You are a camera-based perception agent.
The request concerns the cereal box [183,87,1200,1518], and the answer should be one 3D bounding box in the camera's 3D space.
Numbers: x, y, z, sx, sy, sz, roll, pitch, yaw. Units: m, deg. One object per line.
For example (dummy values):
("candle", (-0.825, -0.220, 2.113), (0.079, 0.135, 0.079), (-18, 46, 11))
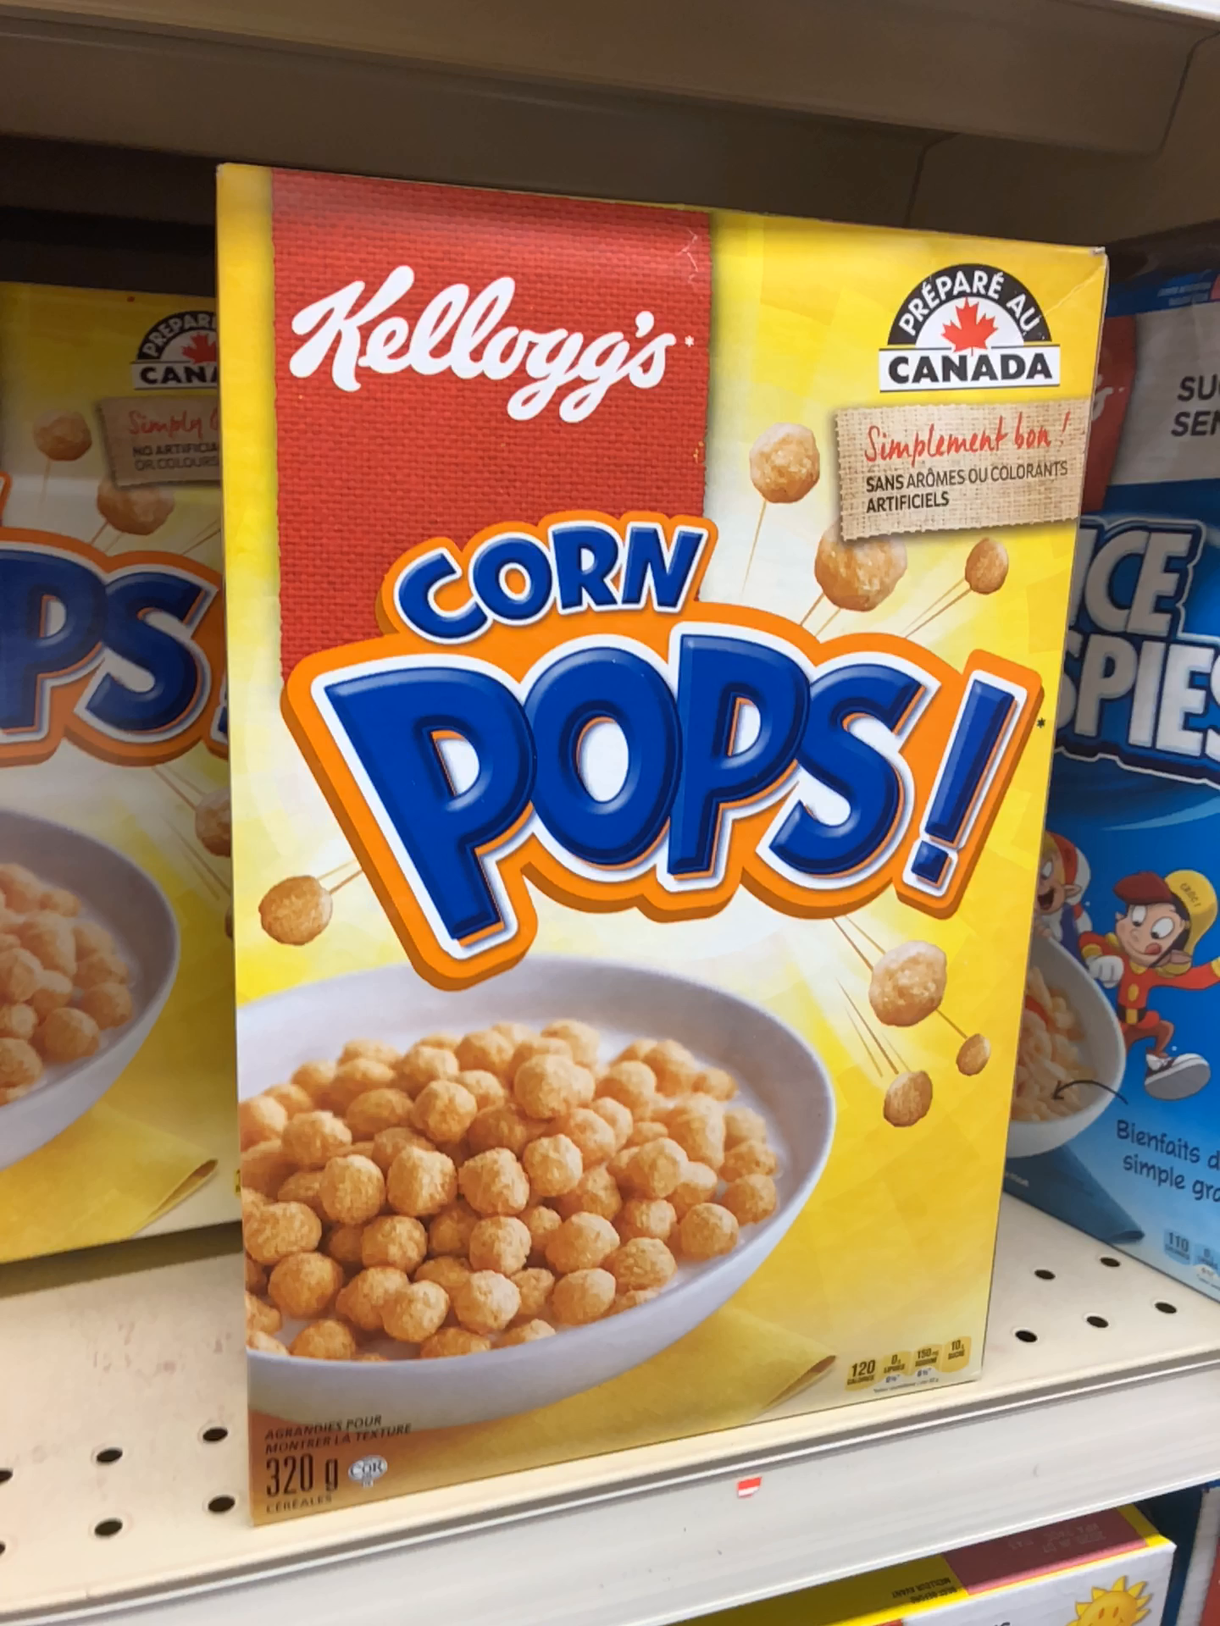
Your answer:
("cereal box", (0.013, 0.004, 0.324), (0.210, 0.289, 0.060), (-2, 15, -18))
